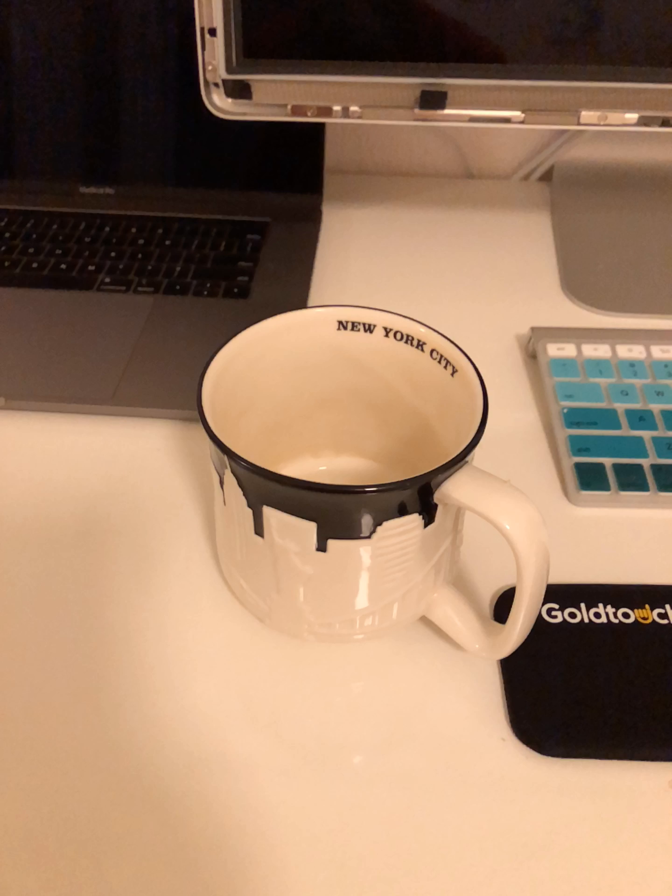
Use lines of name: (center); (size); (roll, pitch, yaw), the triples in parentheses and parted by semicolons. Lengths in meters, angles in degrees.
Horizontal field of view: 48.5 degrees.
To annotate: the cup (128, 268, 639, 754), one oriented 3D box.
cup: (0.018, 0.015, 0.288); (0.140, 0.089, 0.110); (24, 49, 21)
